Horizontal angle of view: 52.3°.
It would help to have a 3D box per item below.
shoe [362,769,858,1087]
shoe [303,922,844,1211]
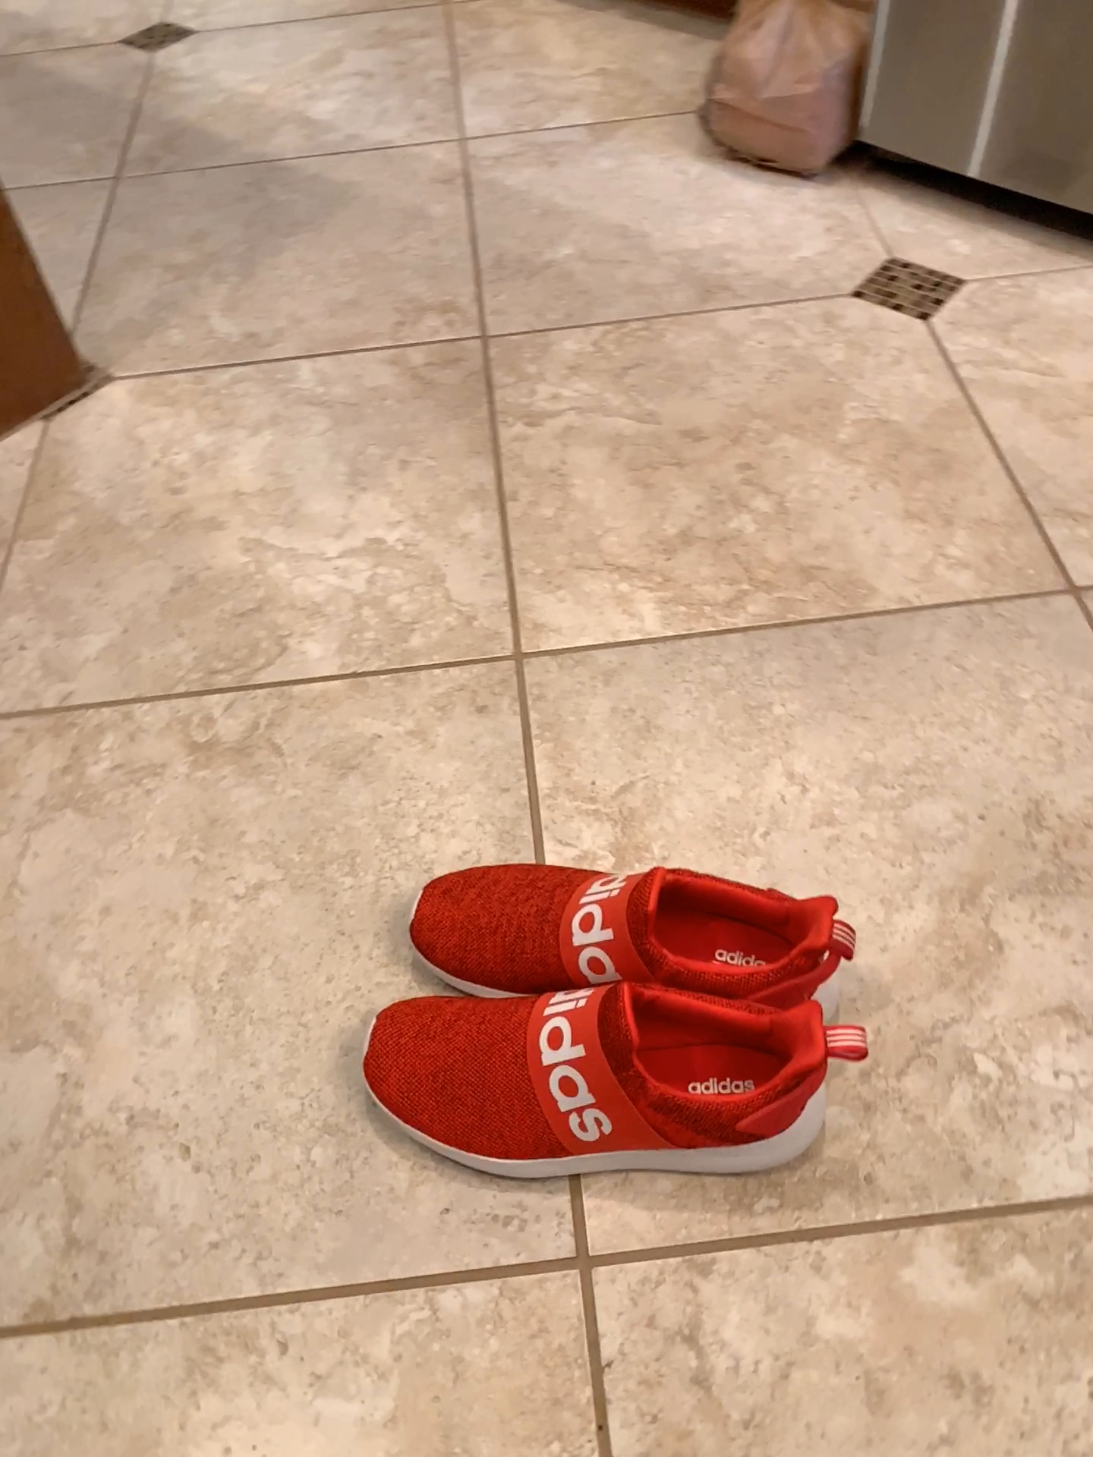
[{"bbox_3d":[0.046,0.133,0.762,0.300,0.119,0.118,9,53,12],"label":"shoe"},{"bbox_3d":[0.021,0.211,0.697,0.300,0.119,0.118,2,52,7],"label":"shoe"}]
